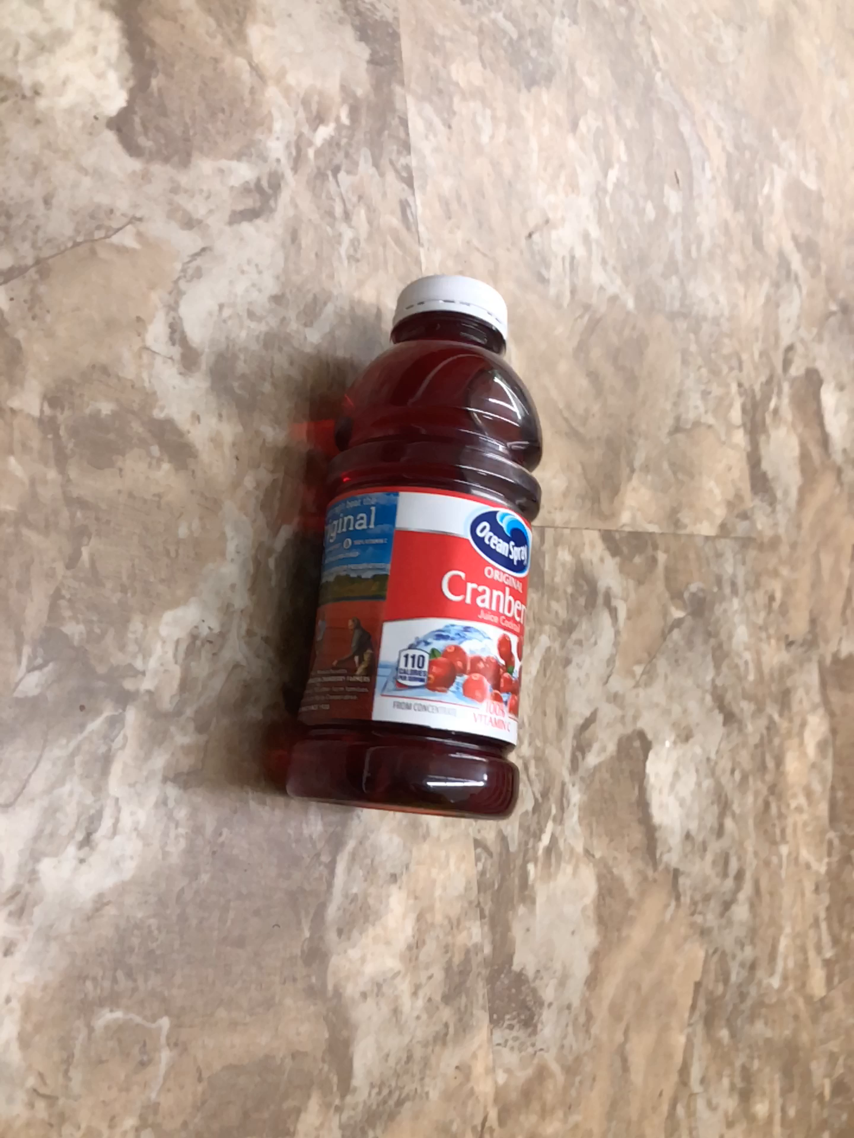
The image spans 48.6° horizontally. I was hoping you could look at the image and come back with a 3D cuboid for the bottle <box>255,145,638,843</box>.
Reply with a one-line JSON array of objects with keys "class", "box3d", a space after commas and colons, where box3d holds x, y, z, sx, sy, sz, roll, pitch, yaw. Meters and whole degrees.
[{"class": "bottle", "box3d": [0.014, -0.021, 0.353, 0.090, 0.083, 0.226, 21, 68, -41]}]
